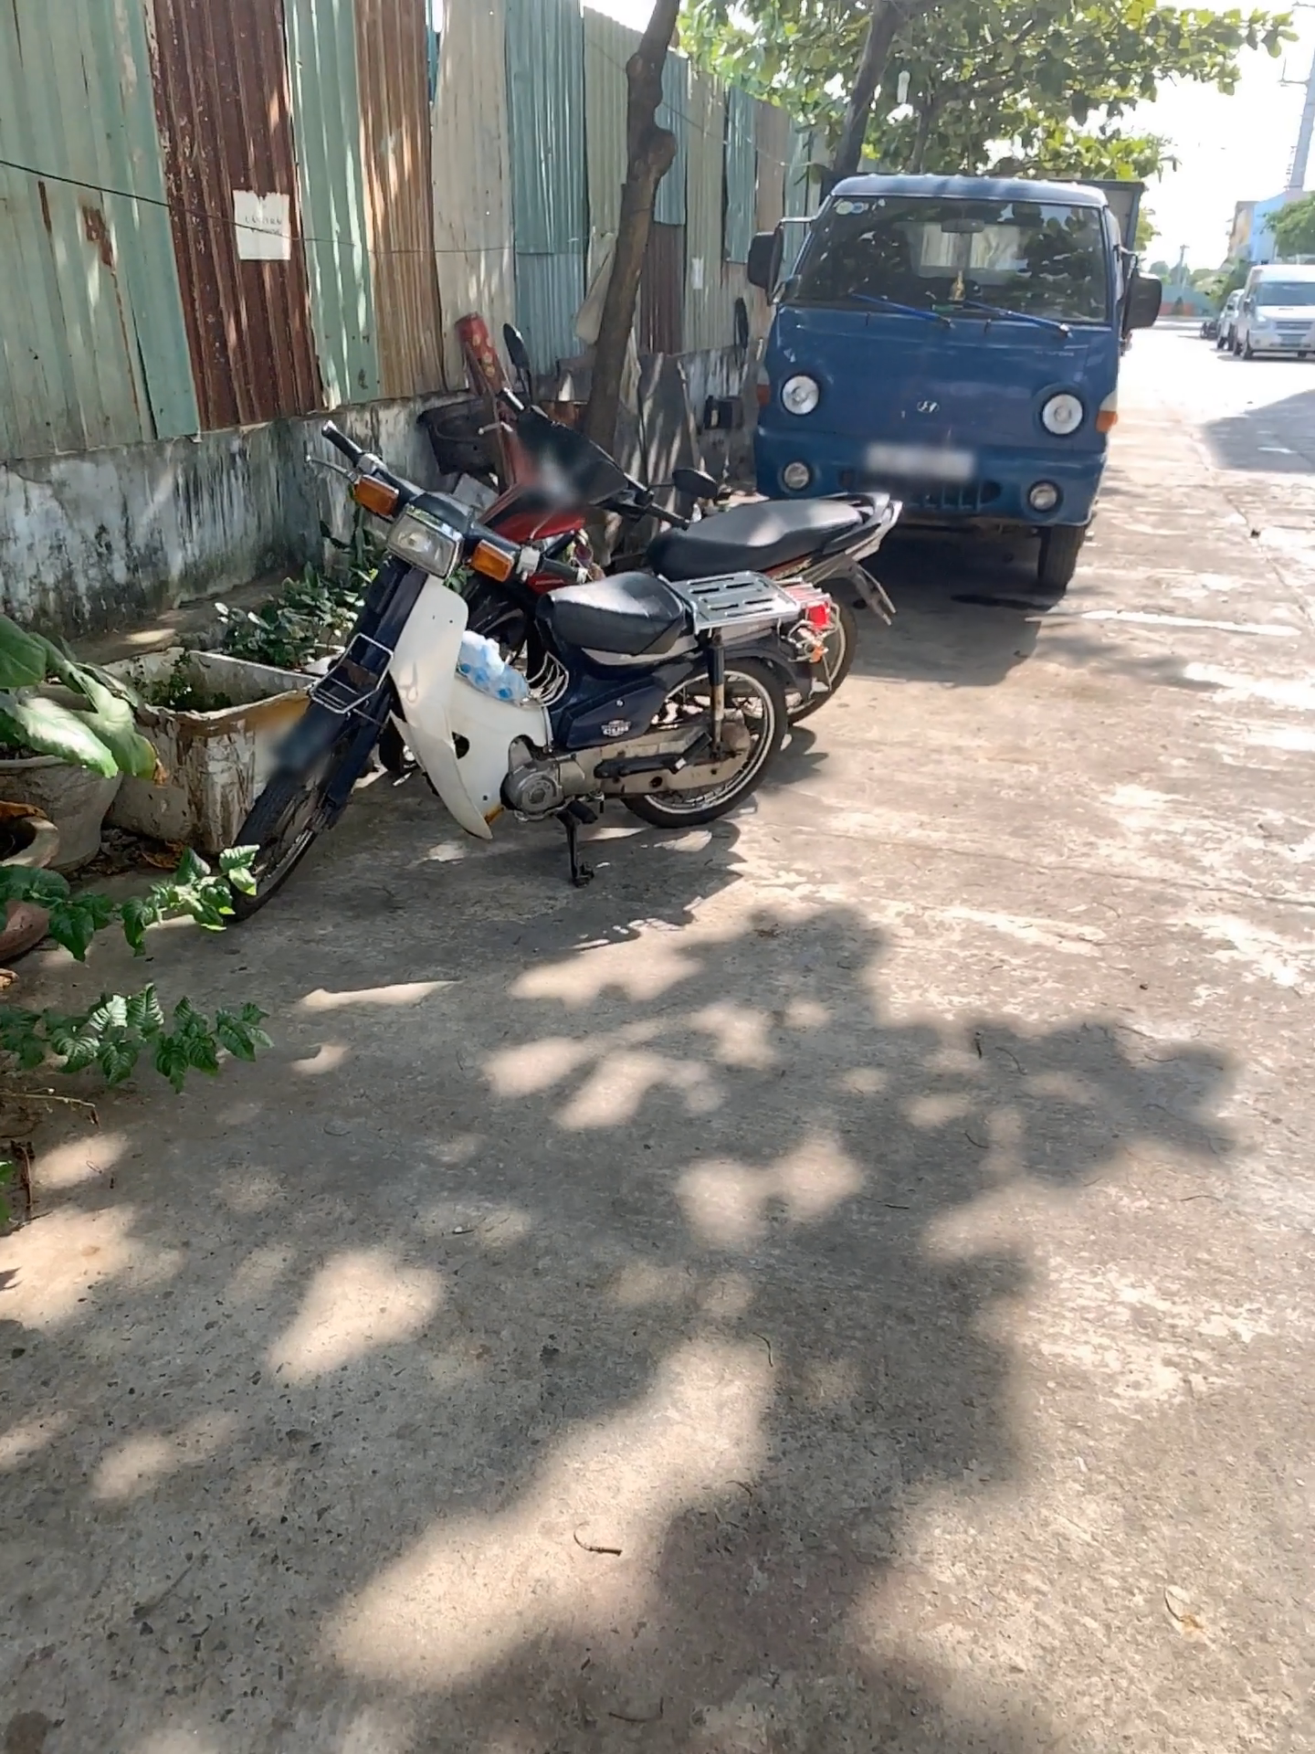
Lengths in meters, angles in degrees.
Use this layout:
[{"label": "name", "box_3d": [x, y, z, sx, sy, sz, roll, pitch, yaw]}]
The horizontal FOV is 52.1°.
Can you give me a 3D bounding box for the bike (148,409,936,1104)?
[{"label": "bike", "box_3d": [-0.193, -0.375, 2.928, 1.479, 1.024, 0.654, -19, 31, -35]}]
